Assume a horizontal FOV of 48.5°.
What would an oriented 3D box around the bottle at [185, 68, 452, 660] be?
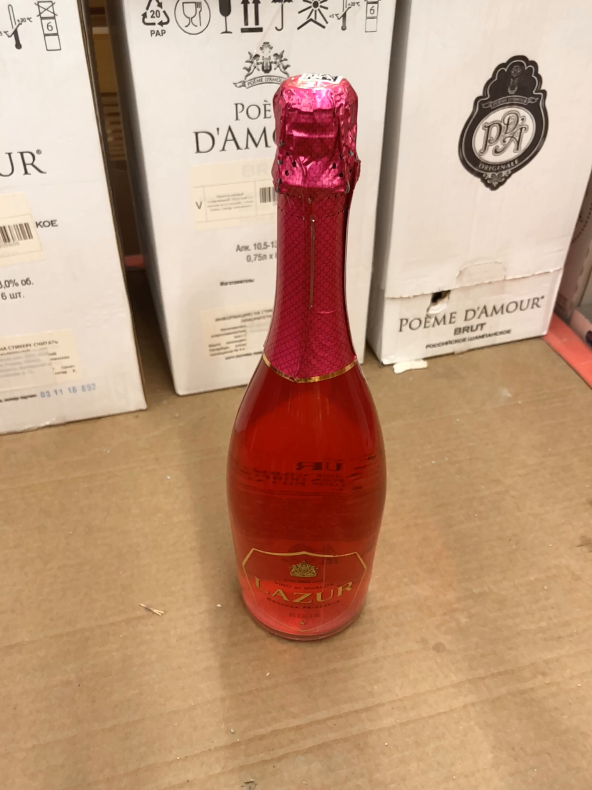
[{"bbox_3d":[0.007,0.010,0.354,0.090,0.319,0.091,1,37,-1],"label":"bottle"}]
